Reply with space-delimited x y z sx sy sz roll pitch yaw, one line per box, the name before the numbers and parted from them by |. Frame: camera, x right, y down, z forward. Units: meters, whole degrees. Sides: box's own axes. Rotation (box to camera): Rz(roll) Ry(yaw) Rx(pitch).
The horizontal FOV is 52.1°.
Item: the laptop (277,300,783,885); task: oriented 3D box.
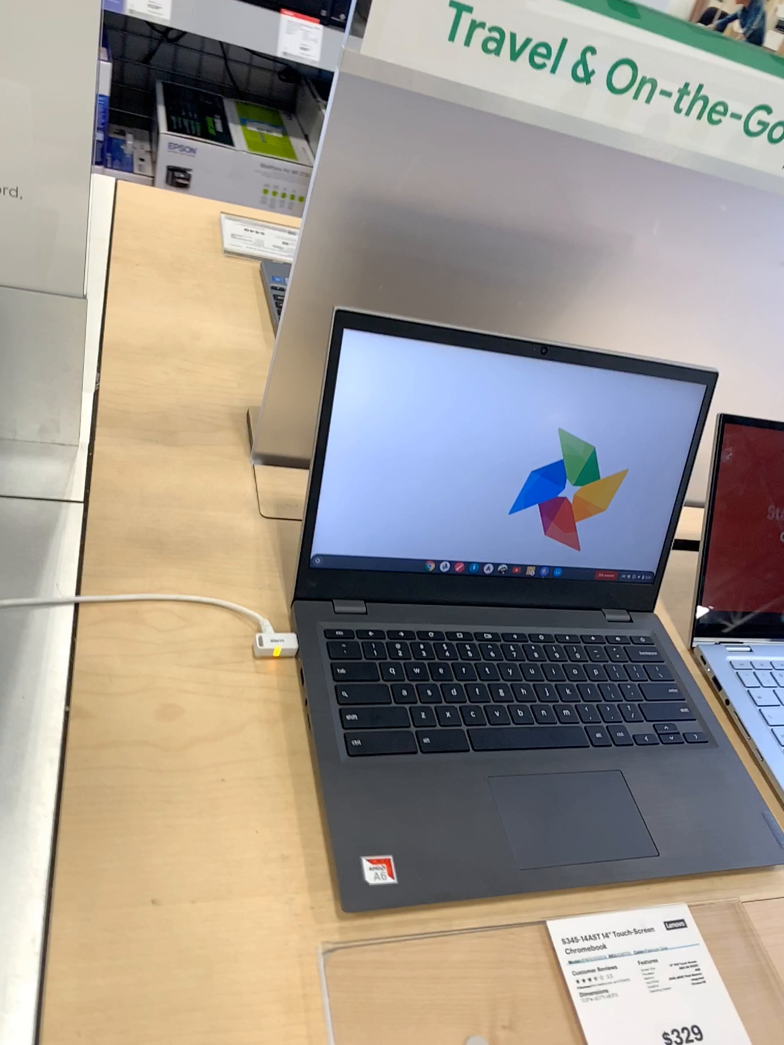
laptop | 0.112 0.037 0.534 0.310 0.188 0.300 5 41 -21
